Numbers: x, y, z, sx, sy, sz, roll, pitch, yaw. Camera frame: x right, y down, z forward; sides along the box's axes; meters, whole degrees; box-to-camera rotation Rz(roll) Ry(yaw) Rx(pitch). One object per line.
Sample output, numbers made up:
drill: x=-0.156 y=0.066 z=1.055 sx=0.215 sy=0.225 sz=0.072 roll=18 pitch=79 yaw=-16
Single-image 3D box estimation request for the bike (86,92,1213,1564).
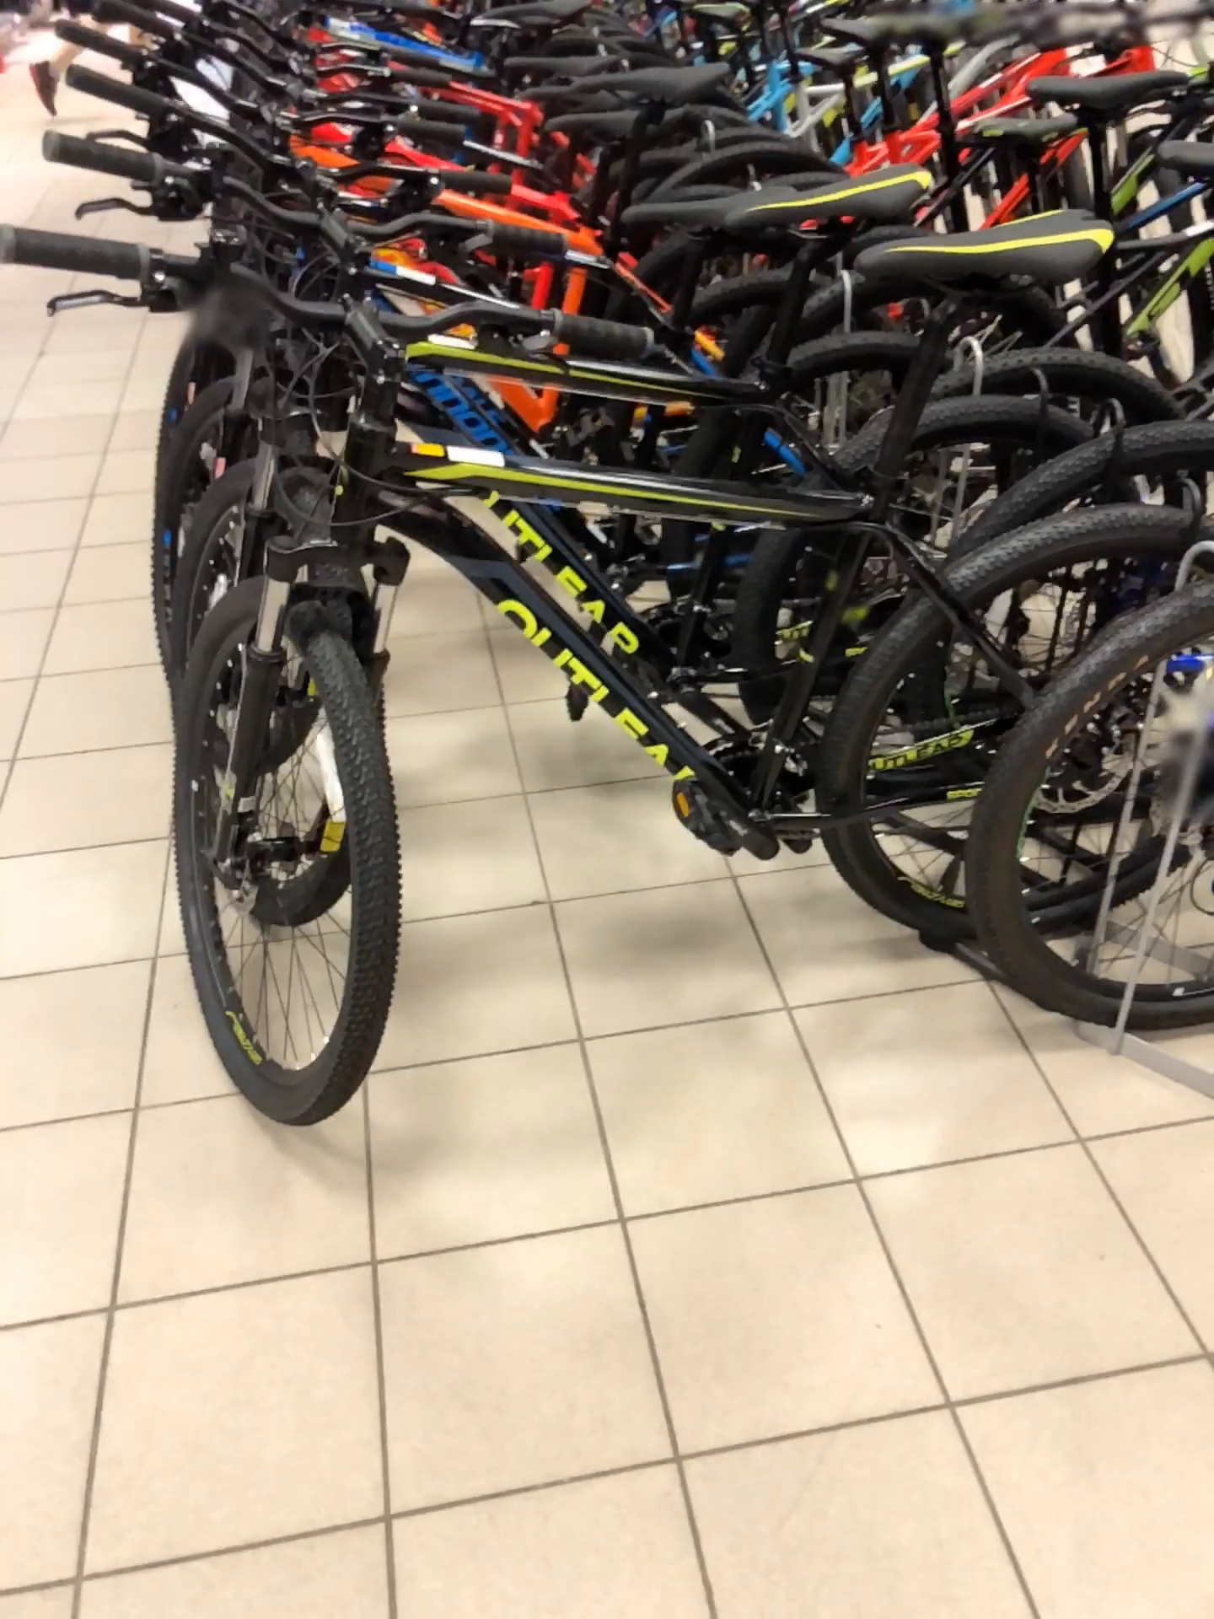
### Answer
bike: x=0.319 y=-0.086 z=1.493 sx=1.354 sy=1.043 sz=0.665 roll=-15 pitch=37 yaw=-16
